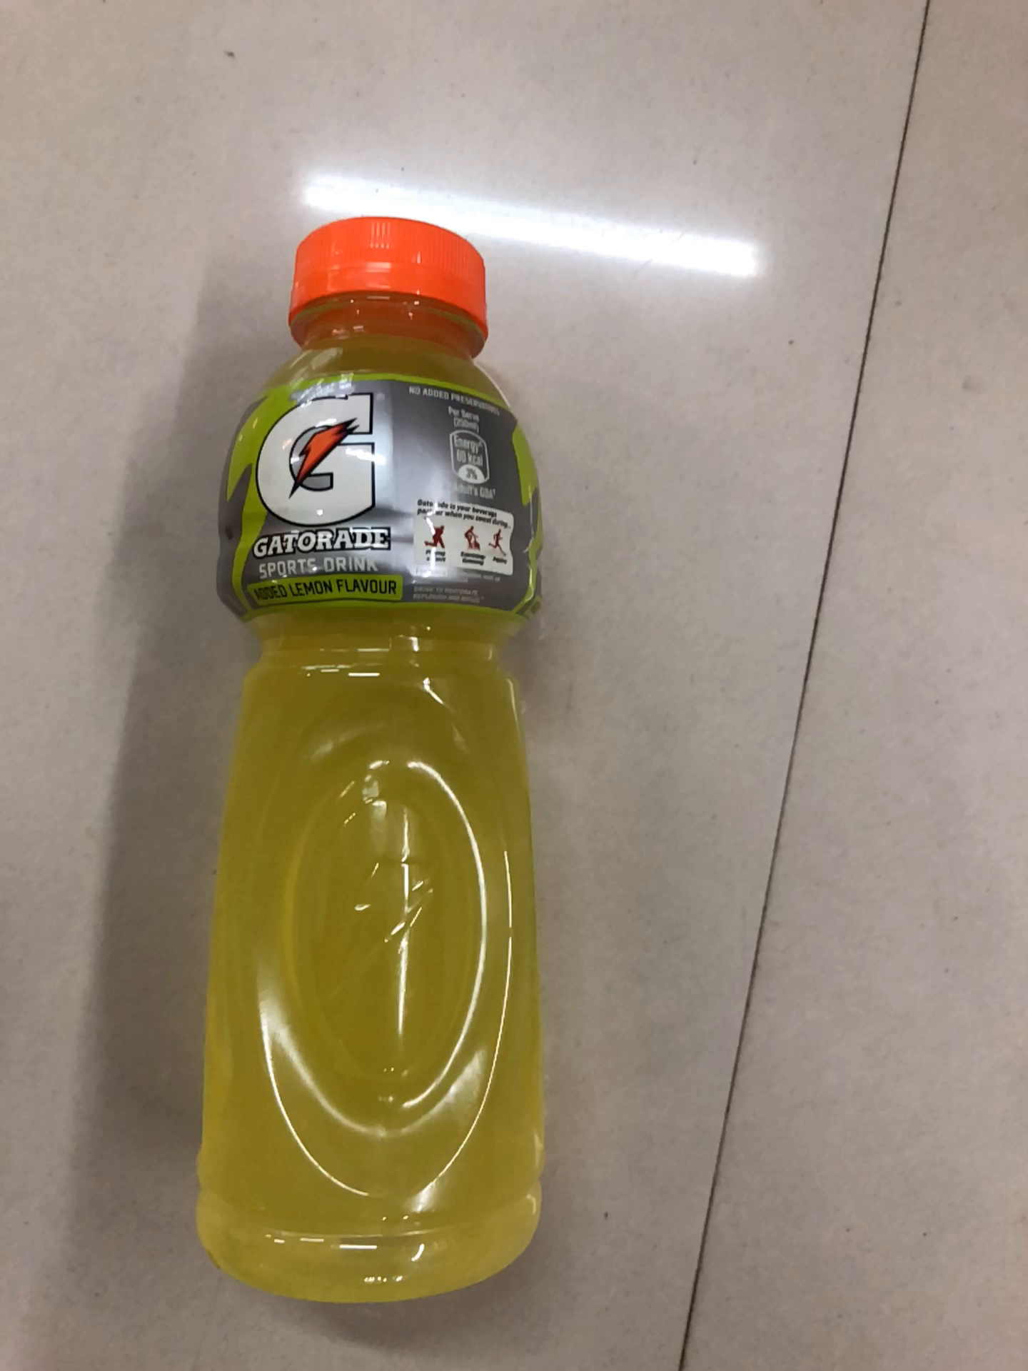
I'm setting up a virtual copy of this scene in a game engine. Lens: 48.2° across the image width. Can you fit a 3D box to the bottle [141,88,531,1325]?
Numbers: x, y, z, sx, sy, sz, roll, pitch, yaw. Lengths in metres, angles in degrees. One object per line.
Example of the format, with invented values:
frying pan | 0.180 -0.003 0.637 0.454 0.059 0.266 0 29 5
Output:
bottle | -0.033 0.003 0.246 0.070 0.060 0.230 0 89 4
